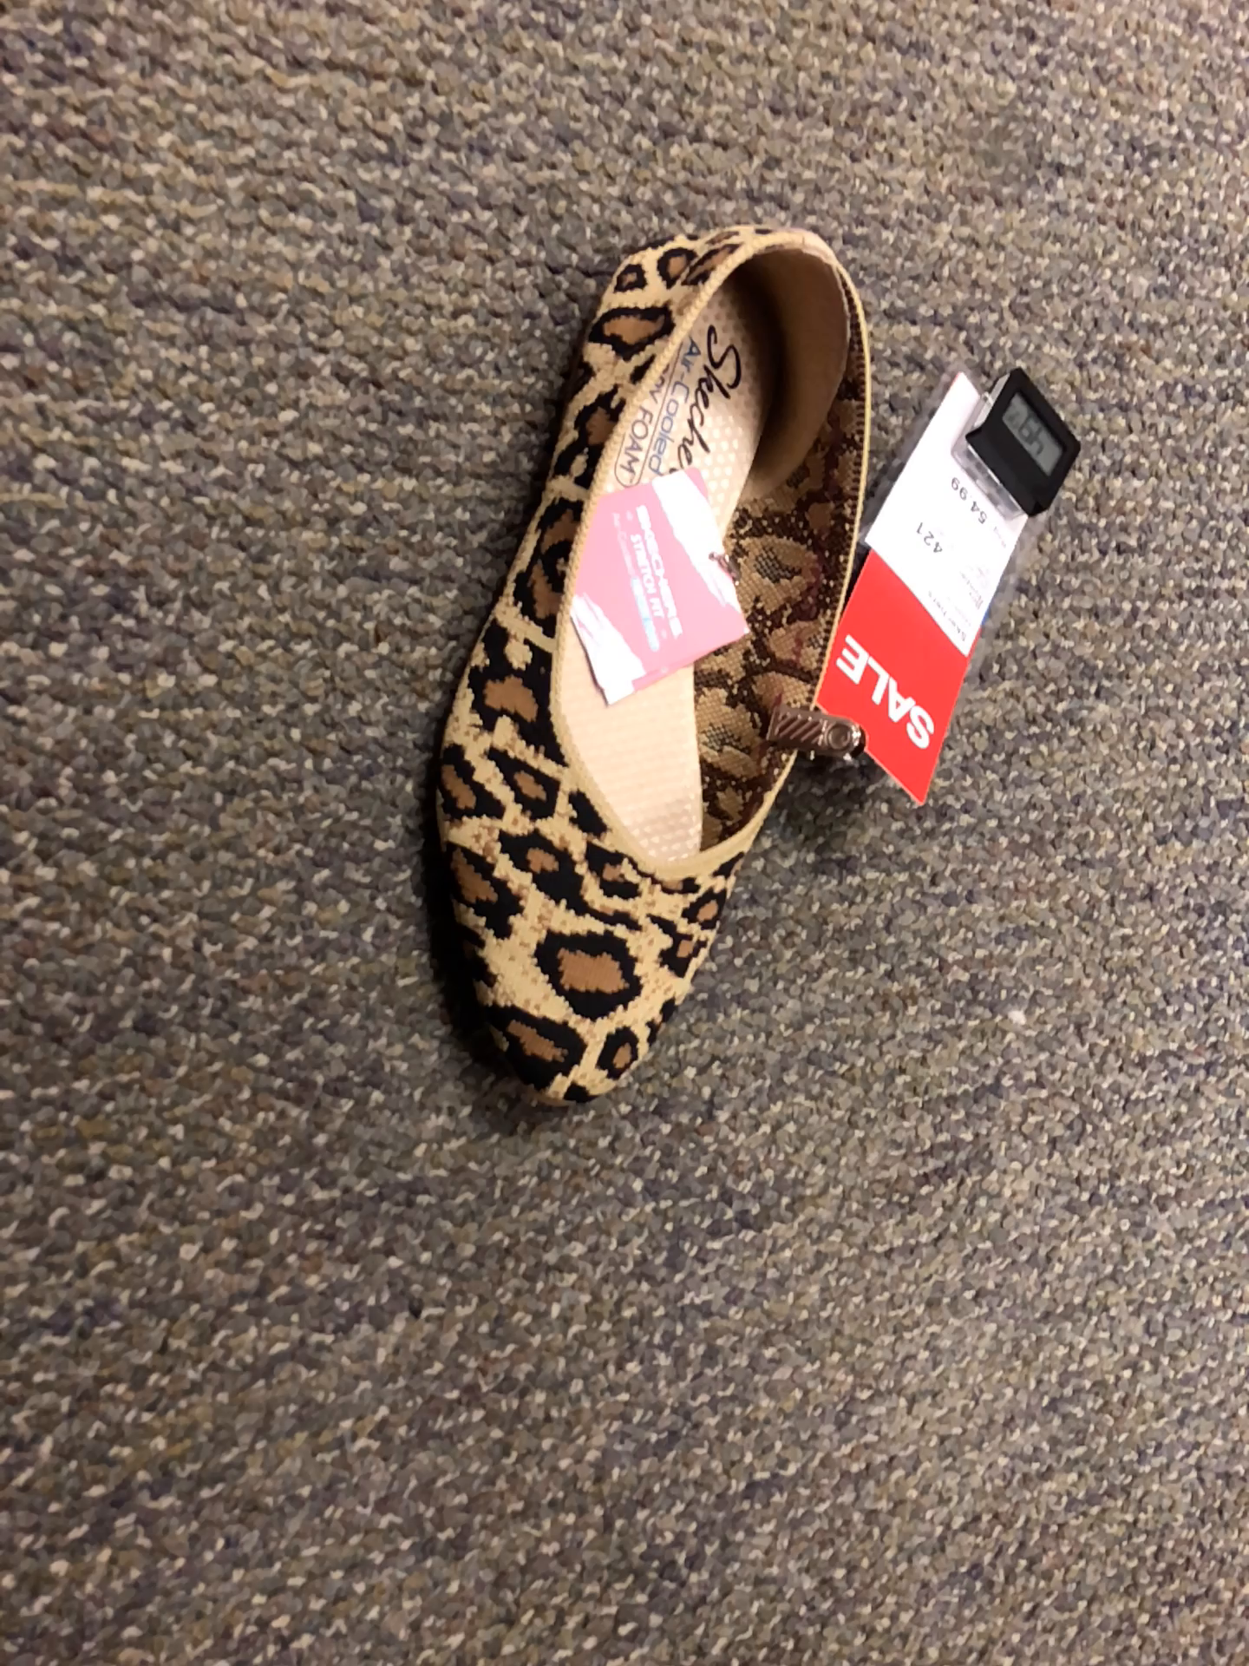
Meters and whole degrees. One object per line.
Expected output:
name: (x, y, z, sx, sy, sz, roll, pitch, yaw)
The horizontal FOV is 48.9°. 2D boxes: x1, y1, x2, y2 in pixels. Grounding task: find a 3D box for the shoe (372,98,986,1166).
shoe: (0.017, -0.043, 0.349, 0.105, 0.056, 0.232, 14, 82, -28)
